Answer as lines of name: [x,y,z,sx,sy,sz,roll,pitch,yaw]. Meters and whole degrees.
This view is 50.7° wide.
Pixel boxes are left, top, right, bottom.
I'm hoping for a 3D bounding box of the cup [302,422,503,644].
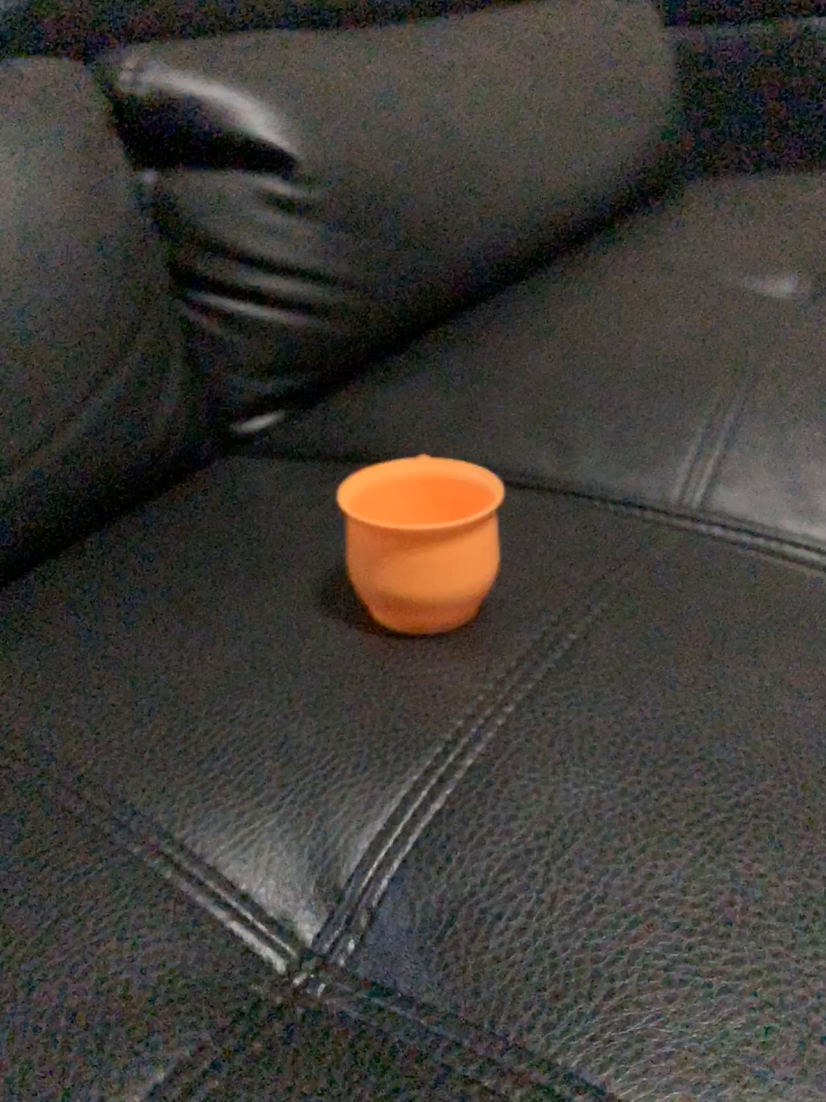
cup: [-0.005,-0.010,0.317,0.063,0.046,0.081,-1,30,-2]
